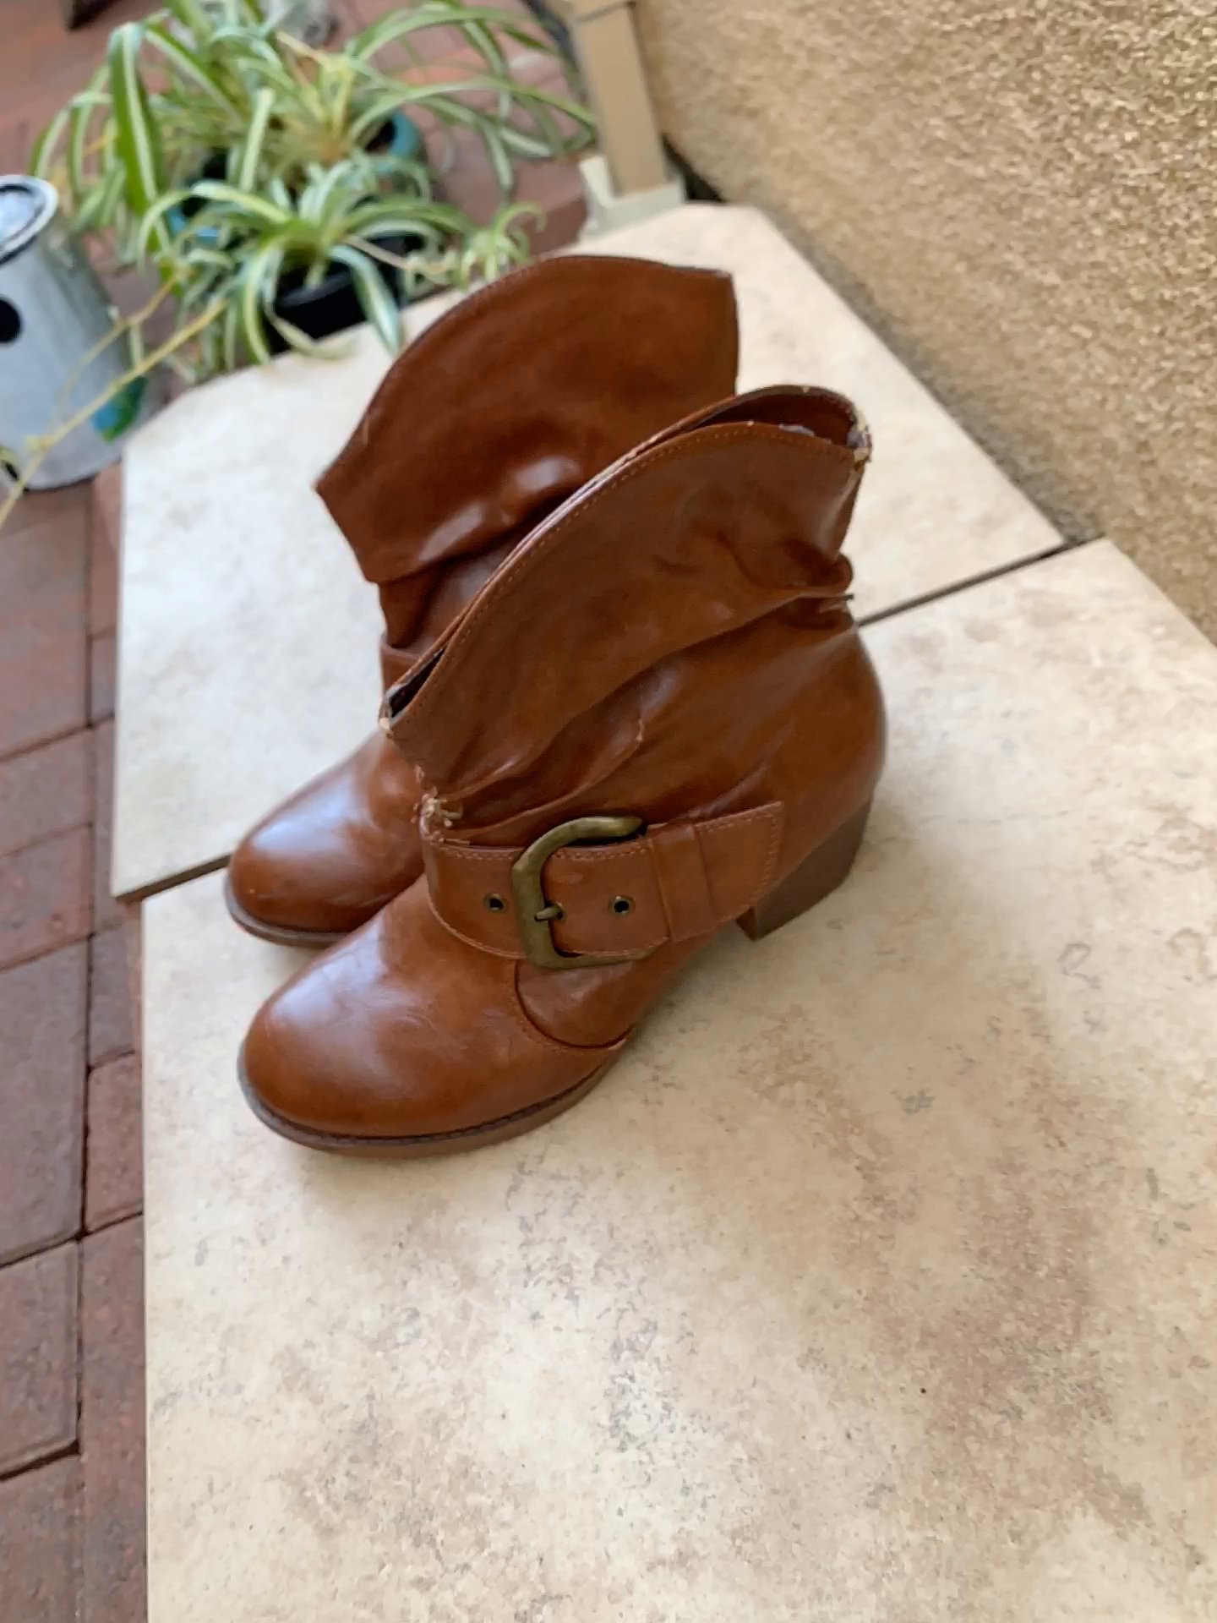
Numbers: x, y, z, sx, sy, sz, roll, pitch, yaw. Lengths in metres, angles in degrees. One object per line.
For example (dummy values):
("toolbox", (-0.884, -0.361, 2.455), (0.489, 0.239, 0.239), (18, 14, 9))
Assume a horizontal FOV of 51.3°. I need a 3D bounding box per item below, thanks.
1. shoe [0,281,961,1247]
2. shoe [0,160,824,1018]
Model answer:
("shoe", (-0.036, -0.001, 0.380), (0.244, 0.198, 0.101), (-22, 46, -1))
("shoe", (-0.068, -0.069, 0.449), (0.244, 0.198, 0.096), (-26, 47, -4))
